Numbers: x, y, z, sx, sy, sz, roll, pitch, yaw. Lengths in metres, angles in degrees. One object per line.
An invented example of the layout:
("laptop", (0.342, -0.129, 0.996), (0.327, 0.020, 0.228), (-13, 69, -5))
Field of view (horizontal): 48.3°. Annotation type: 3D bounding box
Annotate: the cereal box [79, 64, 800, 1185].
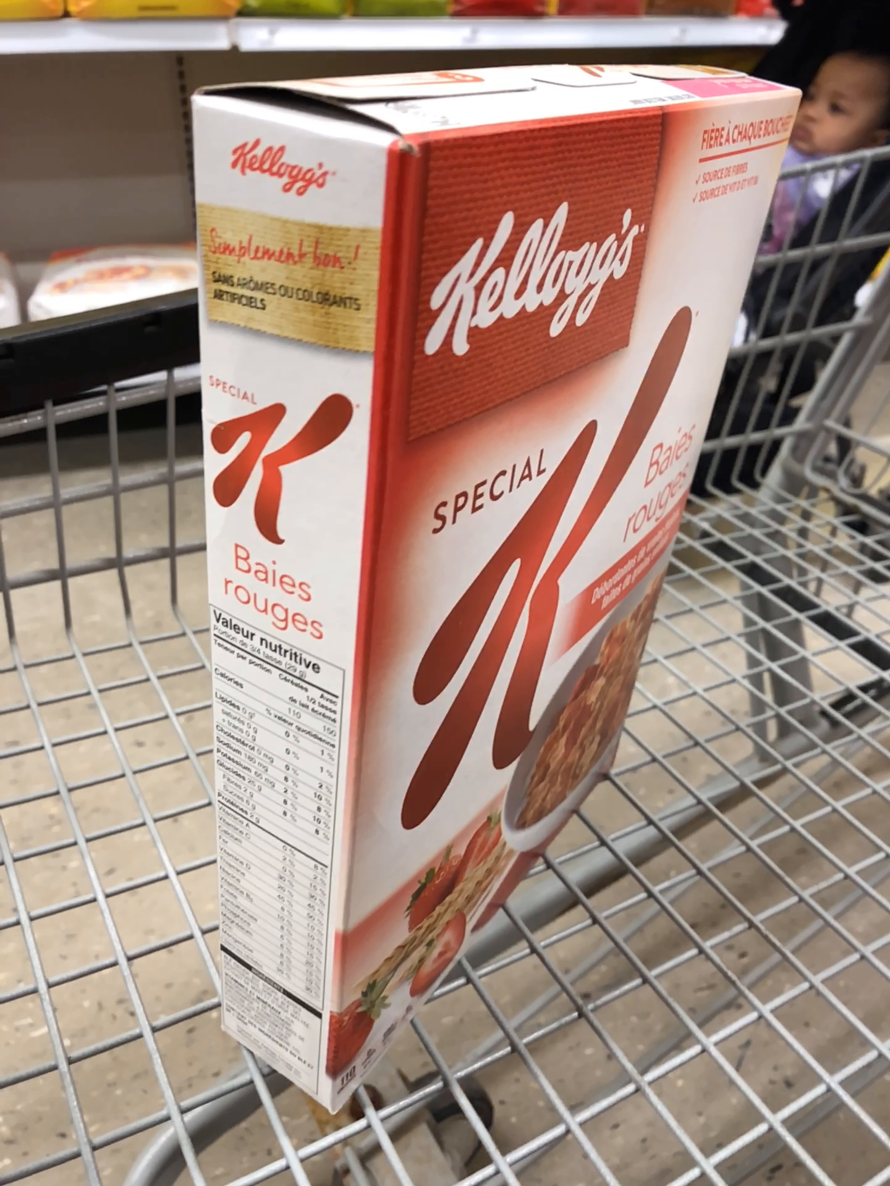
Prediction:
("cereal box", (0.013, 0.002, 0.289), (0.050, 0.269, 0.211), (22, 35, 26))
